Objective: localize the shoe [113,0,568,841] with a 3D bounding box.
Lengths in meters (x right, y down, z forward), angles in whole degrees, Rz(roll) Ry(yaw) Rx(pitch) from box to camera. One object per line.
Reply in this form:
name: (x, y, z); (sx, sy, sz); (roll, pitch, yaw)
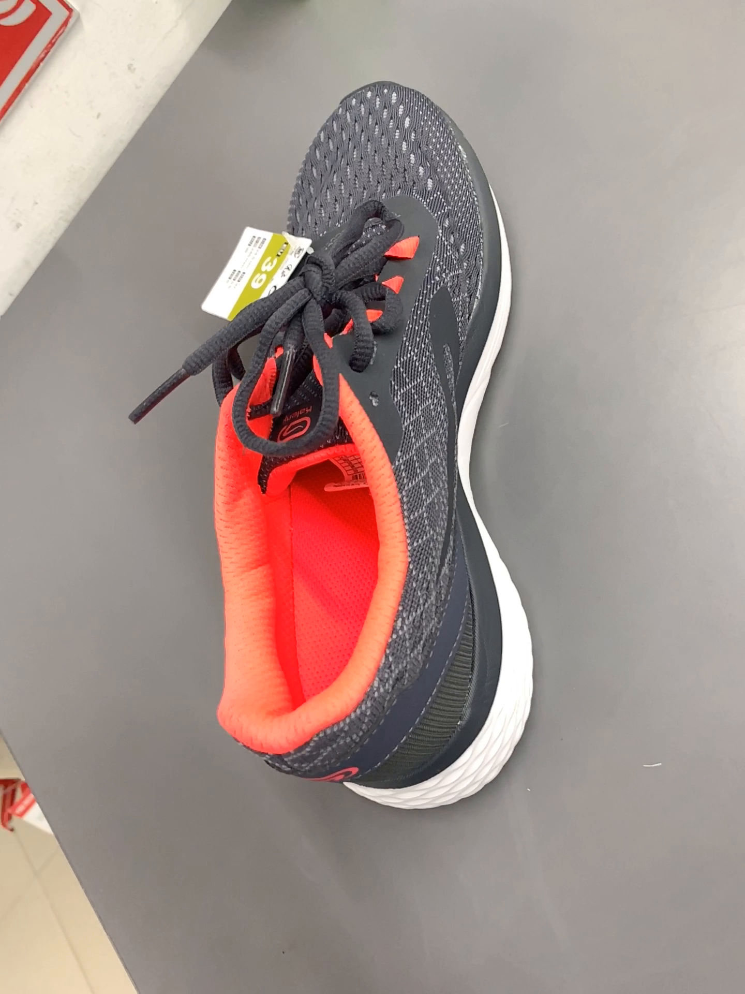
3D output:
shoe: (-0.005, -0.024, 0.295); (0.110, 0.110, 0.270); (-10, 70, 26)
